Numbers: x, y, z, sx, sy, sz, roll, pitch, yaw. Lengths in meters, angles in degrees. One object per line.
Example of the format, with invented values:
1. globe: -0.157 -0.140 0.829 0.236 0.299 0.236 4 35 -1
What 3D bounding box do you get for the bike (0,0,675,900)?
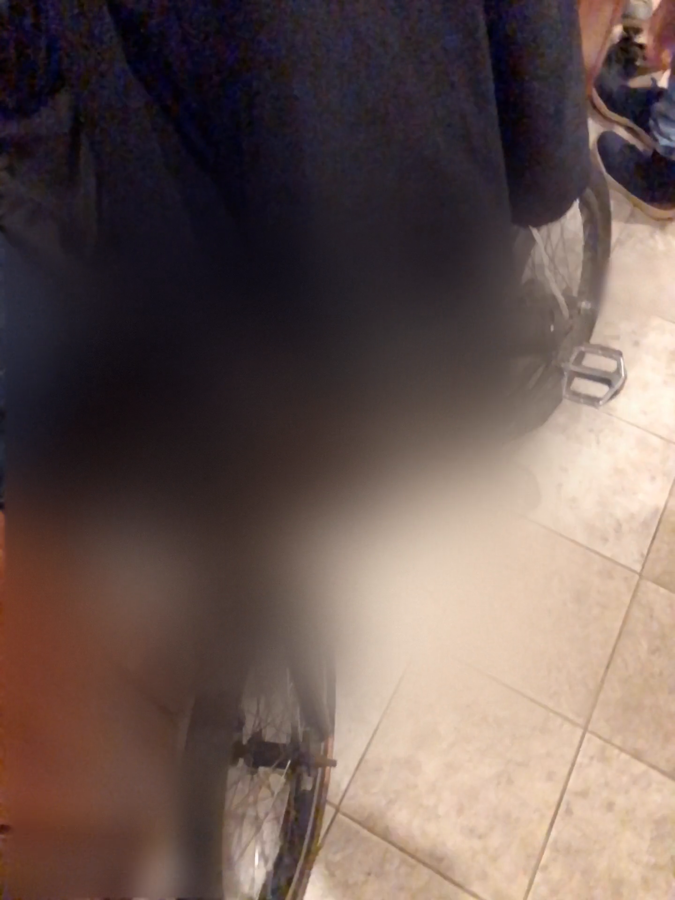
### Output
1. bike: 0.135 -0.077 0.940 0.526 0.856 1.356 28 62 13
